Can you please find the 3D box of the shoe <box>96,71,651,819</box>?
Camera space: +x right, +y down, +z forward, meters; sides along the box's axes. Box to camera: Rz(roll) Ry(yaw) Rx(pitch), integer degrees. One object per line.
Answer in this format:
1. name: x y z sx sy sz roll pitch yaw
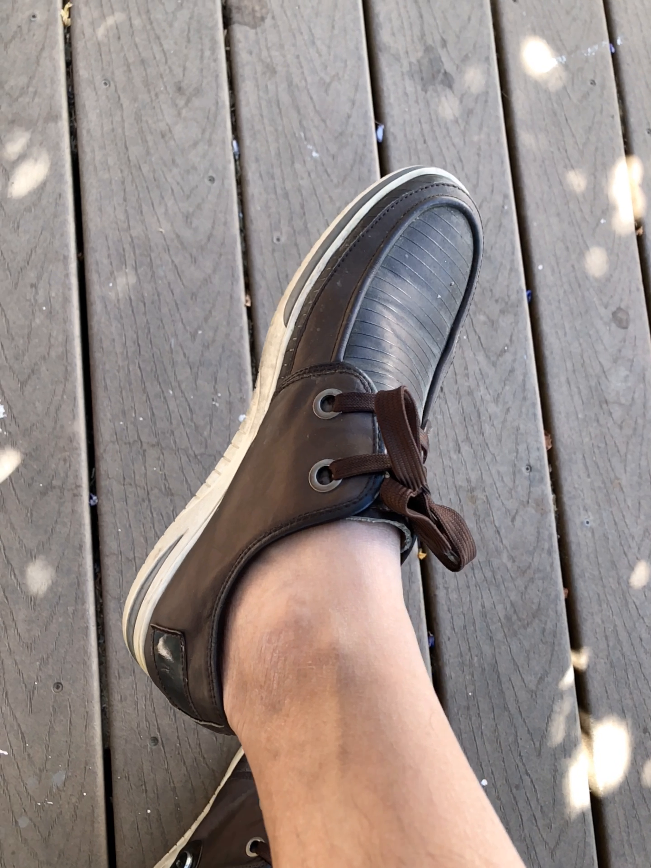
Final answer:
1. shoe: 0.026 0.005 0.344 0.119 0.104 0.295 30 86 -29
